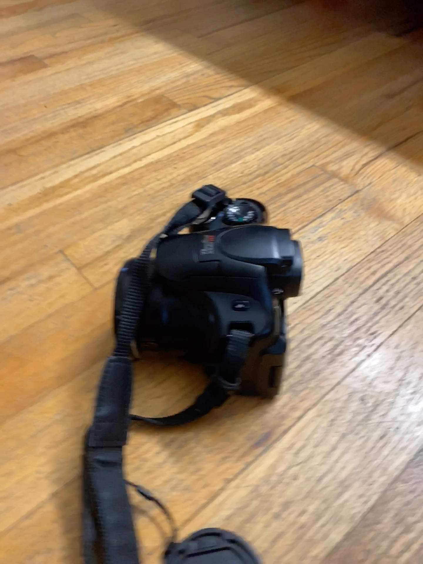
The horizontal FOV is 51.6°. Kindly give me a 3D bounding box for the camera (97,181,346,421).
[{"bbox_3d":[0.009,0.009,0.284,0.120,0.090,0.121,3,48,3],"label":"camera"}]
